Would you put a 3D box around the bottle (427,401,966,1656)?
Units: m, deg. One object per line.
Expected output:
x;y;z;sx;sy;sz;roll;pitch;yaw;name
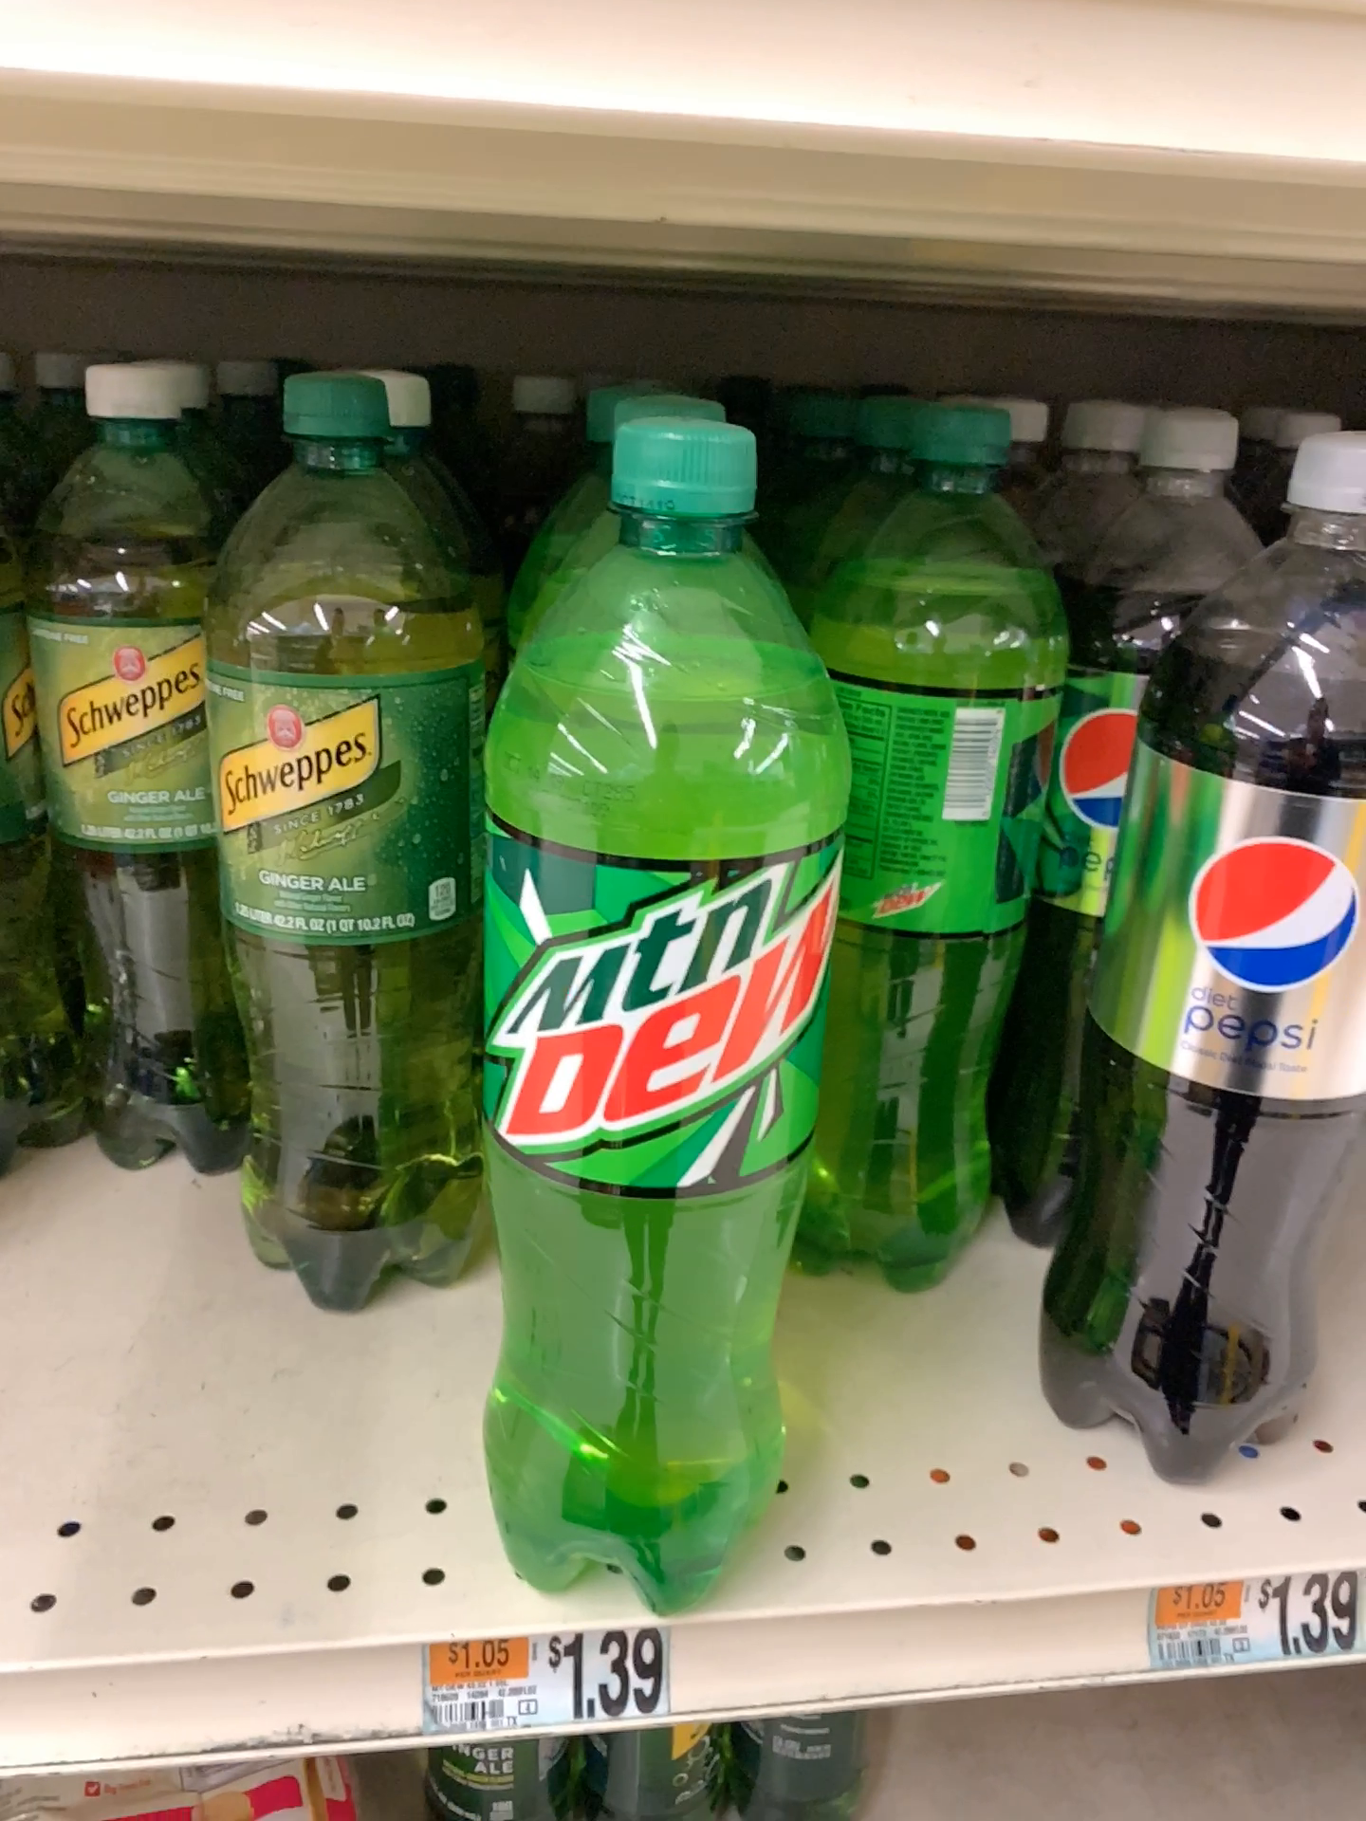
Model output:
-0.006;0.036;0.355;0.100;0.302;0.090;1;21;-5;bottle
